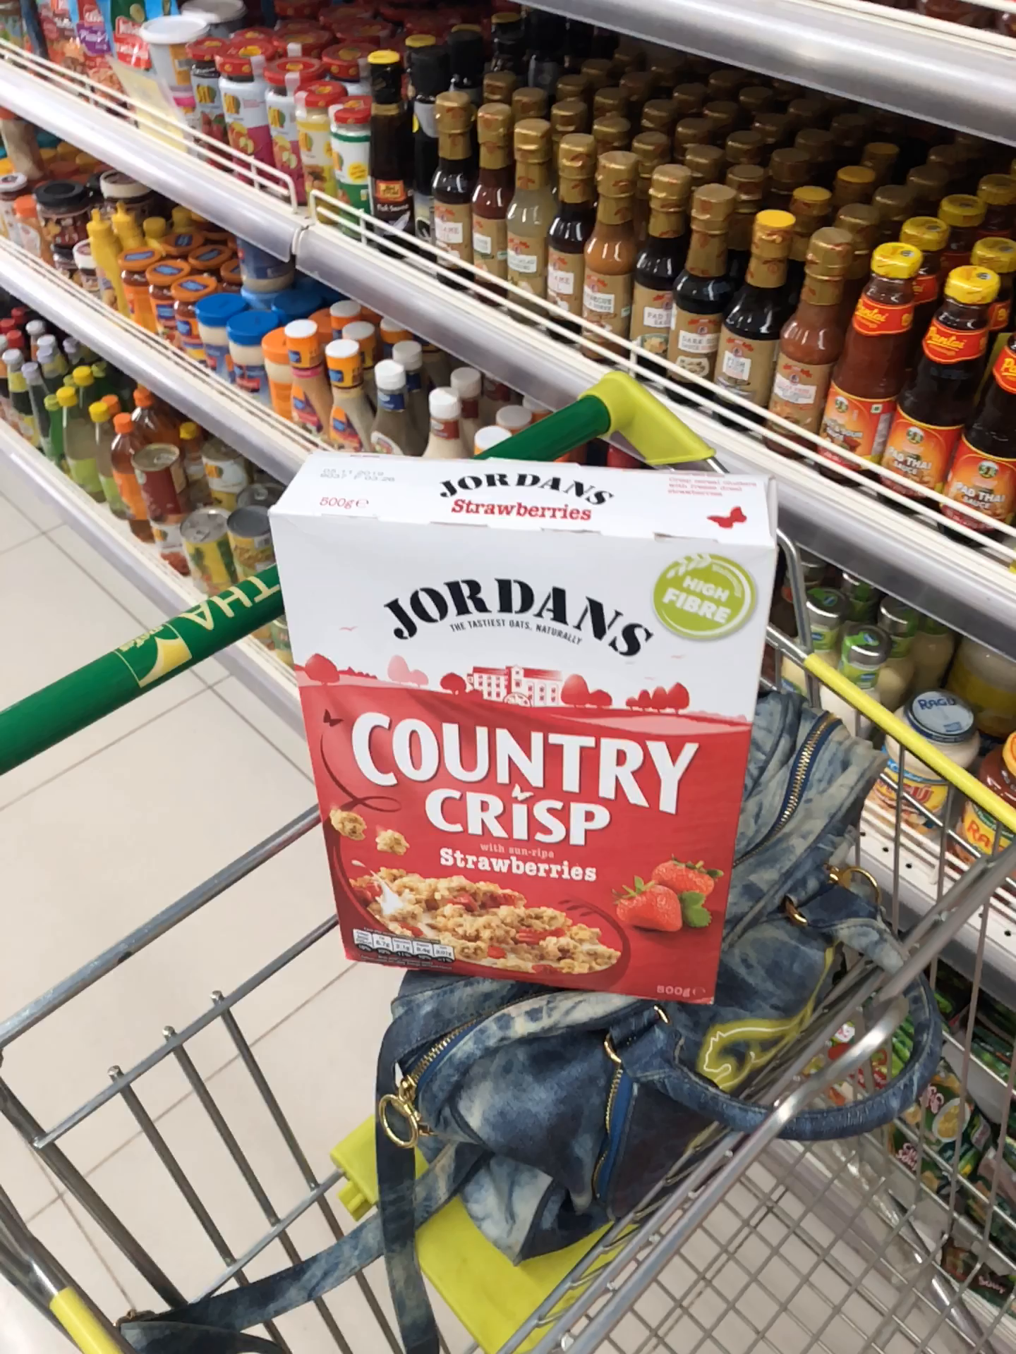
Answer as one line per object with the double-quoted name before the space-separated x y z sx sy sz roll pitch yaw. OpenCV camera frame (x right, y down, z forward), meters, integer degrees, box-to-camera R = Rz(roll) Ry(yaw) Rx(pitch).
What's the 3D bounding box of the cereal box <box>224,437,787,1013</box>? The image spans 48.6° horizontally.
"cereal box" 0.002 0.032 0.477 0.190 0.249 0.060 5 40 7
